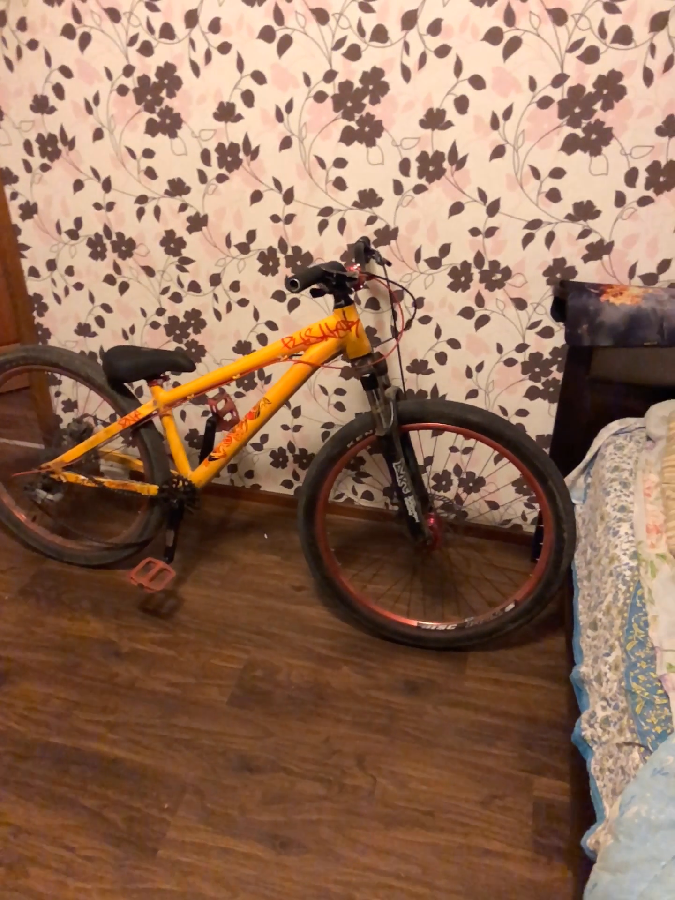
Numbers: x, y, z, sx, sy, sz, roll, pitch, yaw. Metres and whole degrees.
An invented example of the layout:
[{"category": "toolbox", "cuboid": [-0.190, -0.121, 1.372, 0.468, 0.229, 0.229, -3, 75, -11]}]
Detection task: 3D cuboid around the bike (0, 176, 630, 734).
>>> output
[{"category": "bike", "cuboid": [-0.295, -0.082, 1.840, 1.676, 1.005, 0.664, 7, 31, 17]}]
